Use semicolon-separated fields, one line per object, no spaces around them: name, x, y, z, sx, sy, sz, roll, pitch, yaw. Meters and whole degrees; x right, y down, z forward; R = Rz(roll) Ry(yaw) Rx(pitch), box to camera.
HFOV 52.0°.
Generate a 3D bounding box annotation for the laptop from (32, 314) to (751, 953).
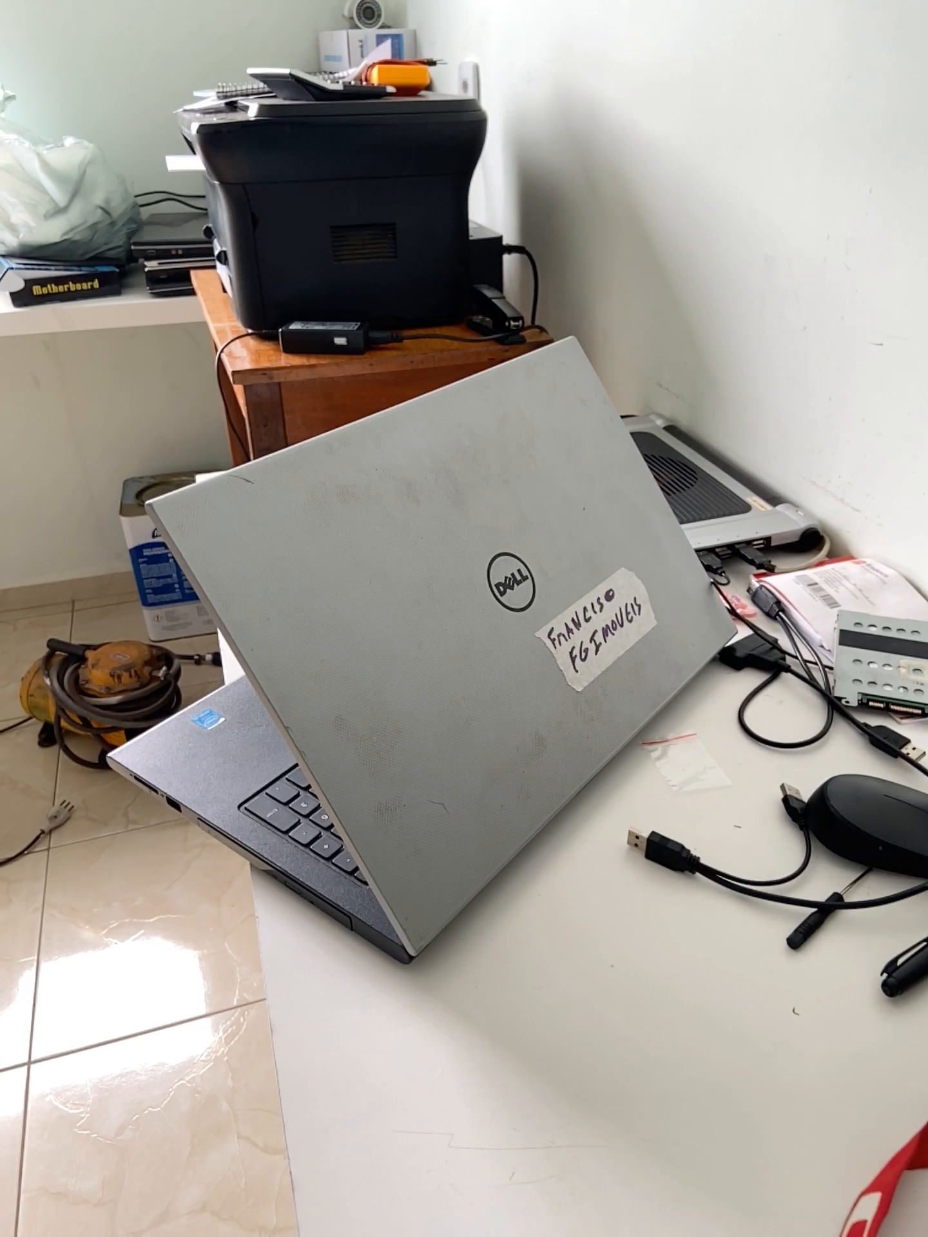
laptop;-0.021;-0.038;0.629;0.257;0.204;0.376;21;38;32
